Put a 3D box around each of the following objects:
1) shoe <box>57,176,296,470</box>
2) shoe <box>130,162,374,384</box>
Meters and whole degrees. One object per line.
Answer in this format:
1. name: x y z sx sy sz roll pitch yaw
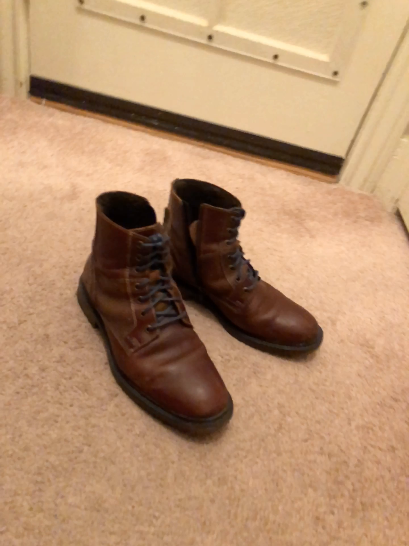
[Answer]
1. shoe: -0.063 0.042 0.556 0.113 0.172 0.316 -17 50 -35
2. shoe: 0.055 -0.007 0.654 0.301 0.172 0.111 30 40 16
